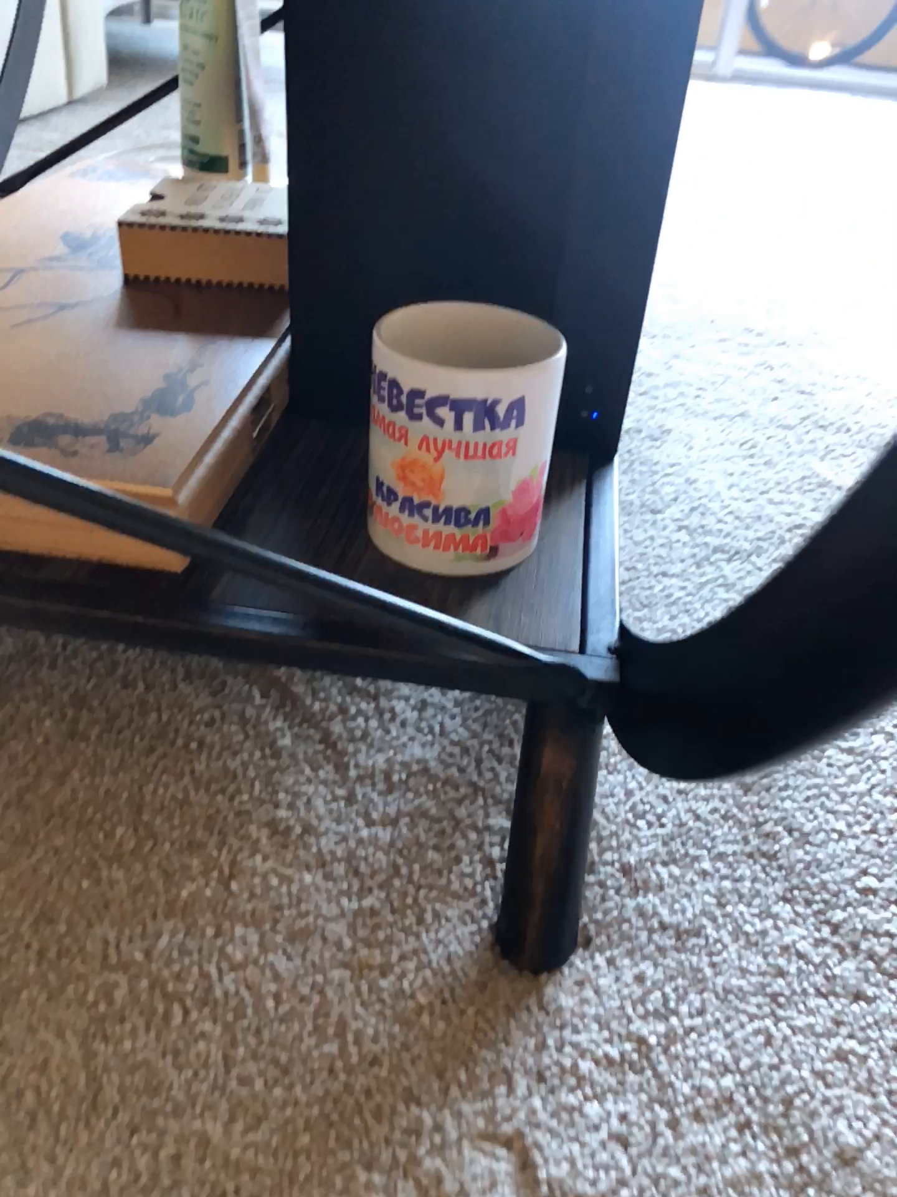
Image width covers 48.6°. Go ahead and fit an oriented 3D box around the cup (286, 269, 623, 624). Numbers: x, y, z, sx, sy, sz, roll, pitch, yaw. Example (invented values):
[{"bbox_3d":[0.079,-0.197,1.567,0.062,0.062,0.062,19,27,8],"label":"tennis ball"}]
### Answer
[{"bbox_3d":[0.004,-0.078,0.460,0.090,0.099,0.141,21,37,22],"label":"cup"}]
